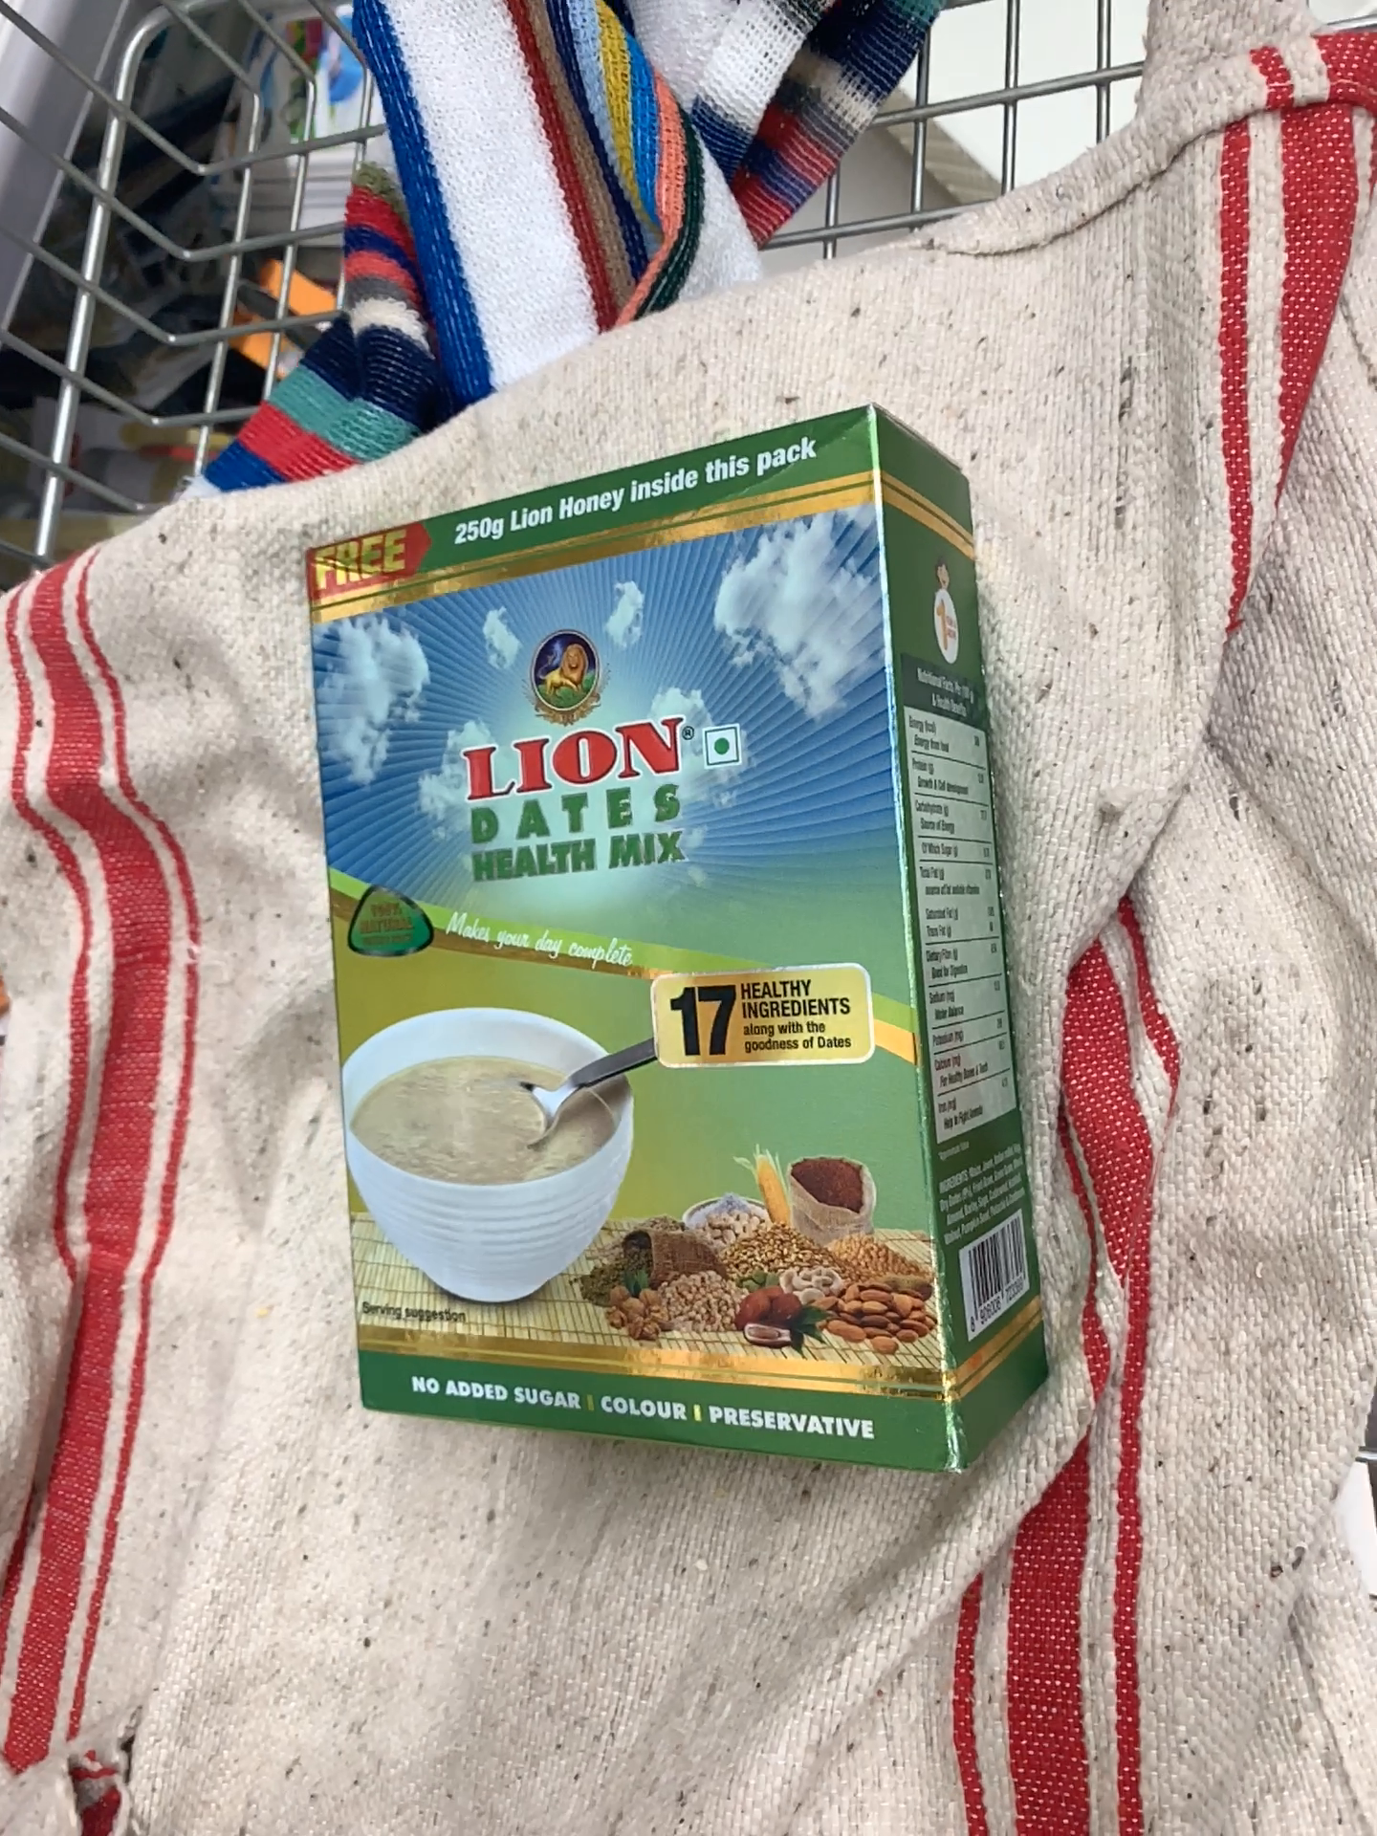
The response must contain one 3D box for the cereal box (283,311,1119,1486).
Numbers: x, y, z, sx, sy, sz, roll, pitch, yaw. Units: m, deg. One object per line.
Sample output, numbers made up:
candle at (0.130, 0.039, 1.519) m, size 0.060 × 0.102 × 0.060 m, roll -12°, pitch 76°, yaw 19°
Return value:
cereal box at (0.003, 0.000, 0.303) m, size 0.141 × 0.090 × 0.190 m, roll -5°, pitch 88°, yaw 29°
